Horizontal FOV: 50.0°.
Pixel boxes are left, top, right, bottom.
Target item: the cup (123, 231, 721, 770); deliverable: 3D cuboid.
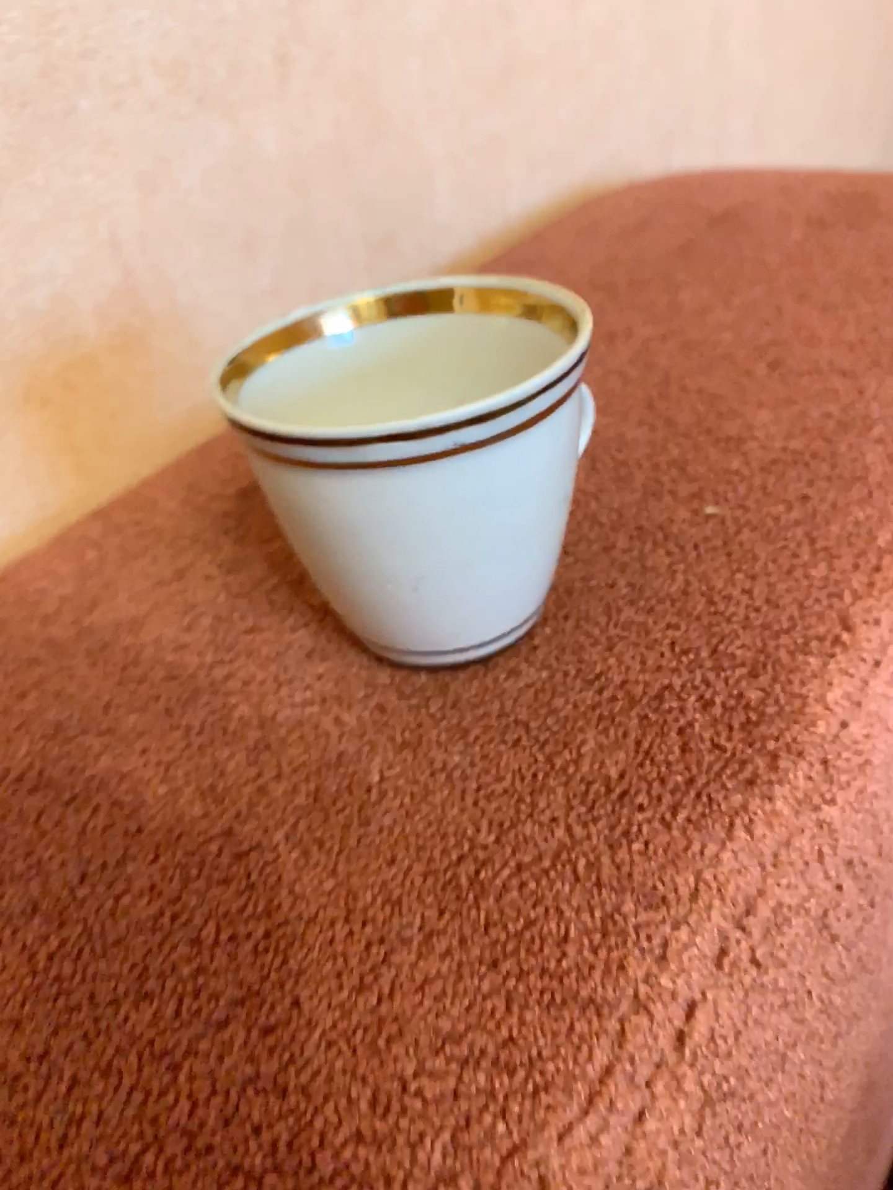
[{"bbox_3d":[0.000,-0.022,0.164,0.078,0.048,0.055,-35,43,-30],"label":"cup"}]
